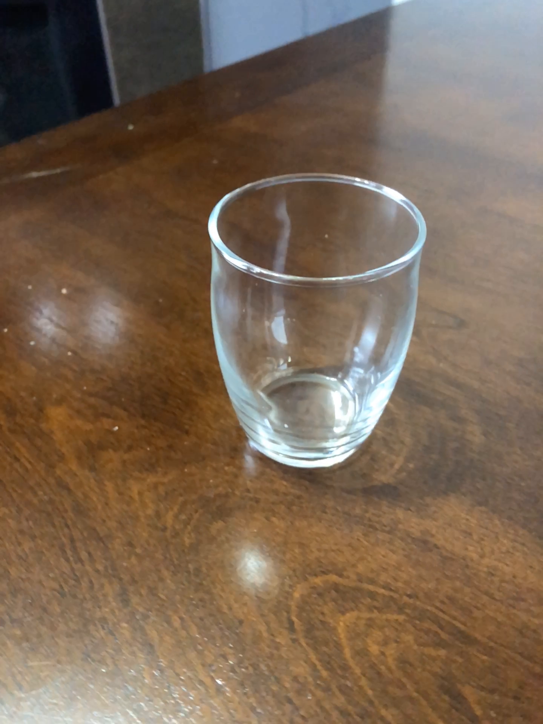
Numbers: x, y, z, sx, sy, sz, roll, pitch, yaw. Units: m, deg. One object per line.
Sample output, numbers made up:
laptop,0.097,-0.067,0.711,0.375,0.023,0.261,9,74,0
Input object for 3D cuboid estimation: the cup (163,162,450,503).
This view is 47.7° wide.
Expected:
cup,0.012,-0.010,0.186,0.060,0.070,0.060,0,42,0
